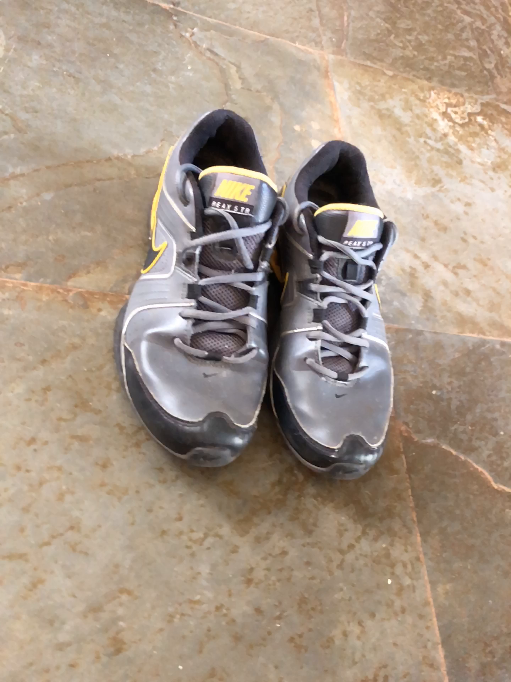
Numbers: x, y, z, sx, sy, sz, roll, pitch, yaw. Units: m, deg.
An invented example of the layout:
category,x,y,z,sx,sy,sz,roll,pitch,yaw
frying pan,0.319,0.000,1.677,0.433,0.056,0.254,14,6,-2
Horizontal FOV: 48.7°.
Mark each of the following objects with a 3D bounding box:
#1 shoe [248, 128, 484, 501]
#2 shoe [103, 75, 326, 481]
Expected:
category,x,y,z,sx,sy,sz,roll,pitch,yaw
shoe,0.062,-0.020,0.408,0.100,0.099,0.241,8,58,-18
shoe,-0.032,-0.043,0.374,0.100,0.099,0.241,8,58,-18
